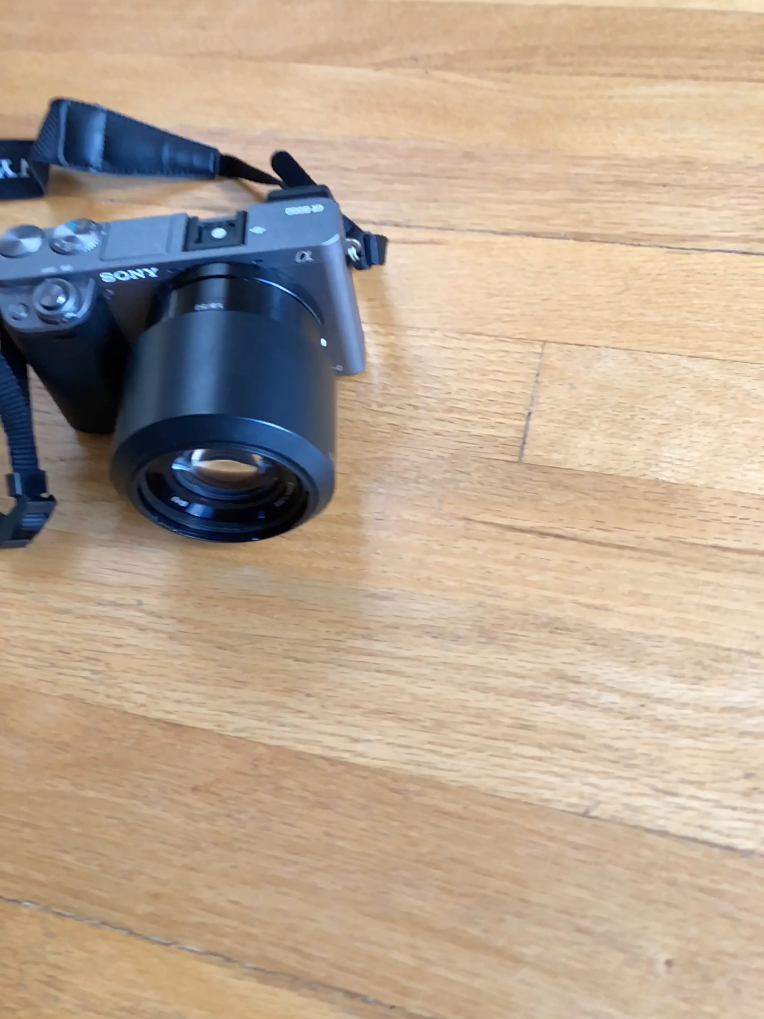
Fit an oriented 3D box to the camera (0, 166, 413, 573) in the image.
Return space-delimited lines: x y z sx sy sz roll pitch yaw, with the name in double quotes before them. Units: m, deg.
"camera" -0.065 -0.047 0.288 0.140 0.060 0.110 -6 59 4
